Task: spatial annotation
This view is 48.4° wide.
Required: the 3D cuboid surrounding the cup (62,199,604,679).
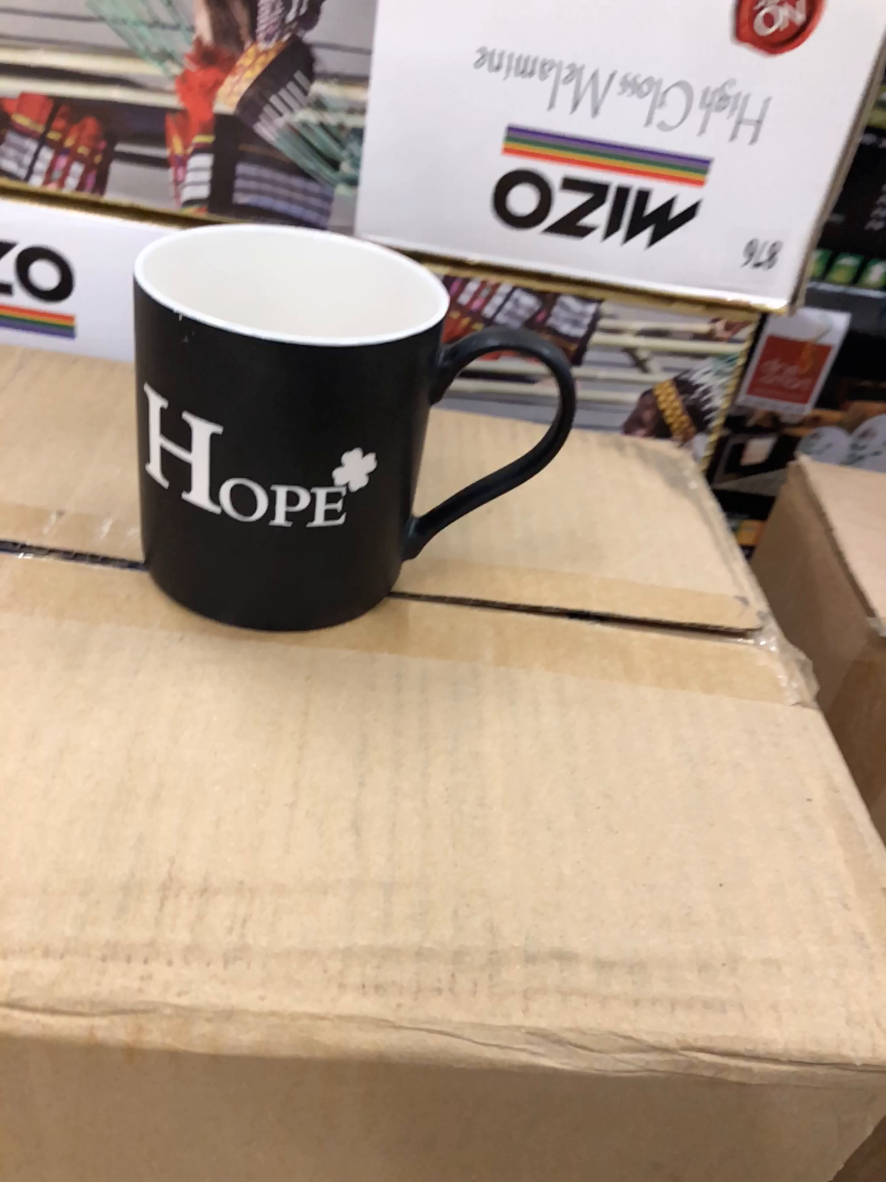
[{"bbox_3d":[-0.033,-0.043,0.281,0.120,0.089,0.091,5,36,-10],"label":"cup"}]
